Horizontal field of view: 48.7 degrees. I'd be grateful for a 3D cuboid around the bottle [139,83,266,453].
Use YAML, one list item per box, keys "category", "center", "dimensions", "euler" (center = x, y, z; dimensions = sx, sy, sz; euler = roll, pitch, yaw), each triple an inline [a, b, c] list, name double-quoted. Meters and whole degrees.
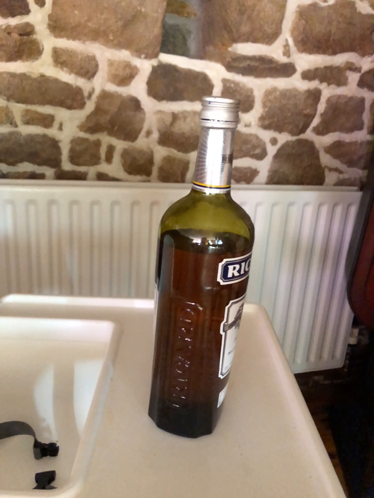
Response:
- category: "bottle"
  center: [0.012, 0.019, 0.366]
  dimensions: [0.070, 0.299, 0.090]
  euler: [9, 19, 14]
